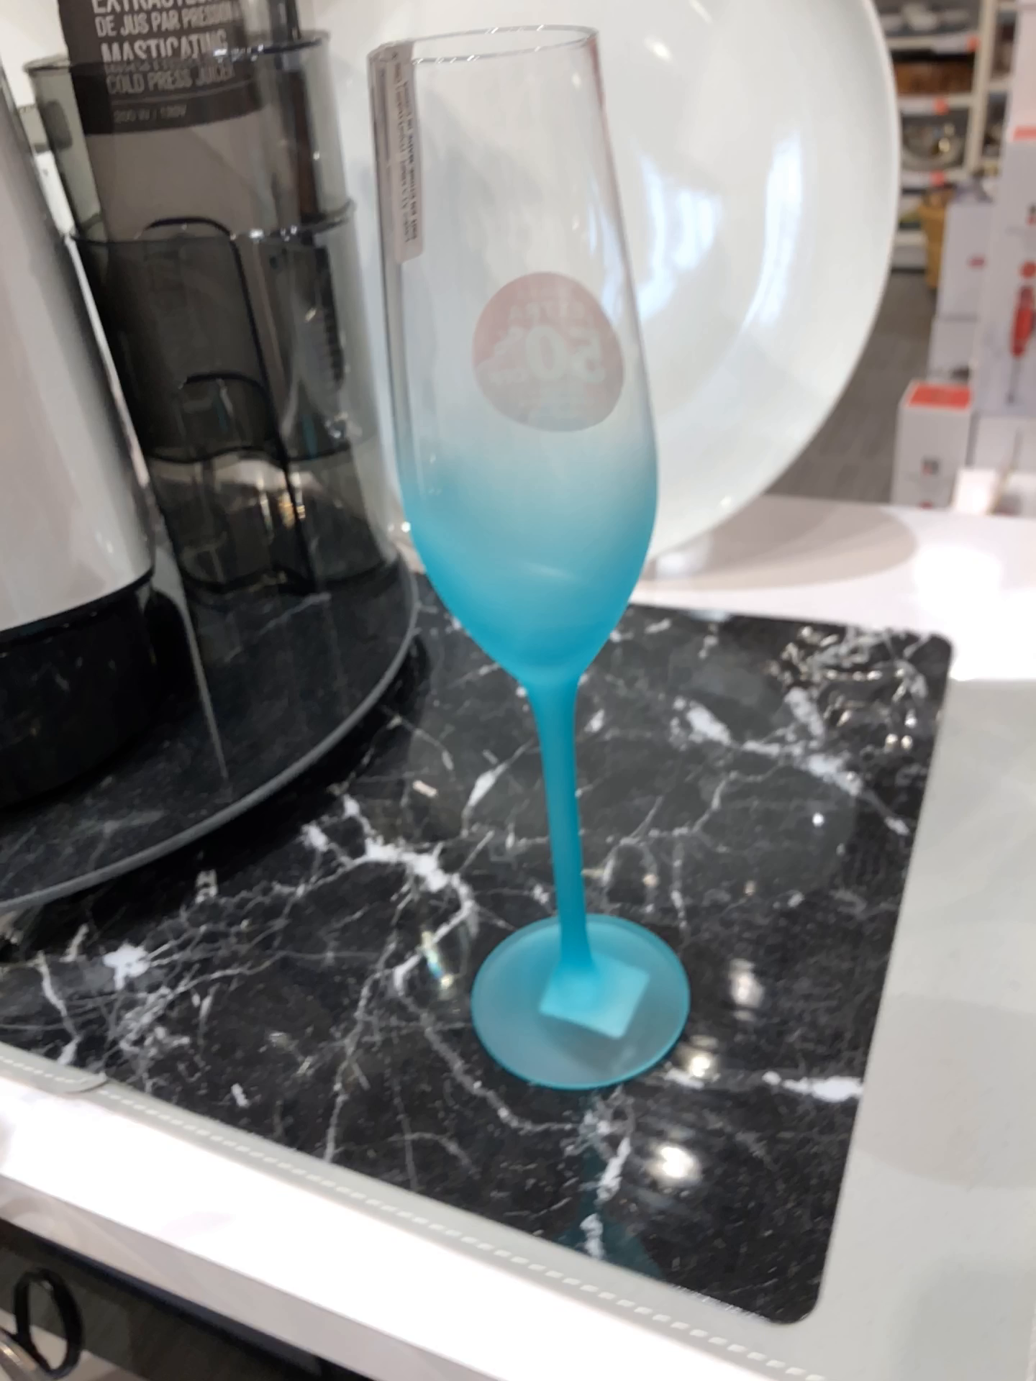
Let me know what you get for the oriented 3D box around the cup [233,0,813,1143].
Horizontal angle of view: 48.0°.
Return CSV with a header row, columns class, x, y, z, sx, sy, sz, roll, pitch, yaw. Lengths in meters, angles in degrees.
class,x,y,z,sx,sy,sz,roll,pitch,yaw
cup,0.011,-0.014,0.264,0.070,0.239,0.070,-4,34,3
